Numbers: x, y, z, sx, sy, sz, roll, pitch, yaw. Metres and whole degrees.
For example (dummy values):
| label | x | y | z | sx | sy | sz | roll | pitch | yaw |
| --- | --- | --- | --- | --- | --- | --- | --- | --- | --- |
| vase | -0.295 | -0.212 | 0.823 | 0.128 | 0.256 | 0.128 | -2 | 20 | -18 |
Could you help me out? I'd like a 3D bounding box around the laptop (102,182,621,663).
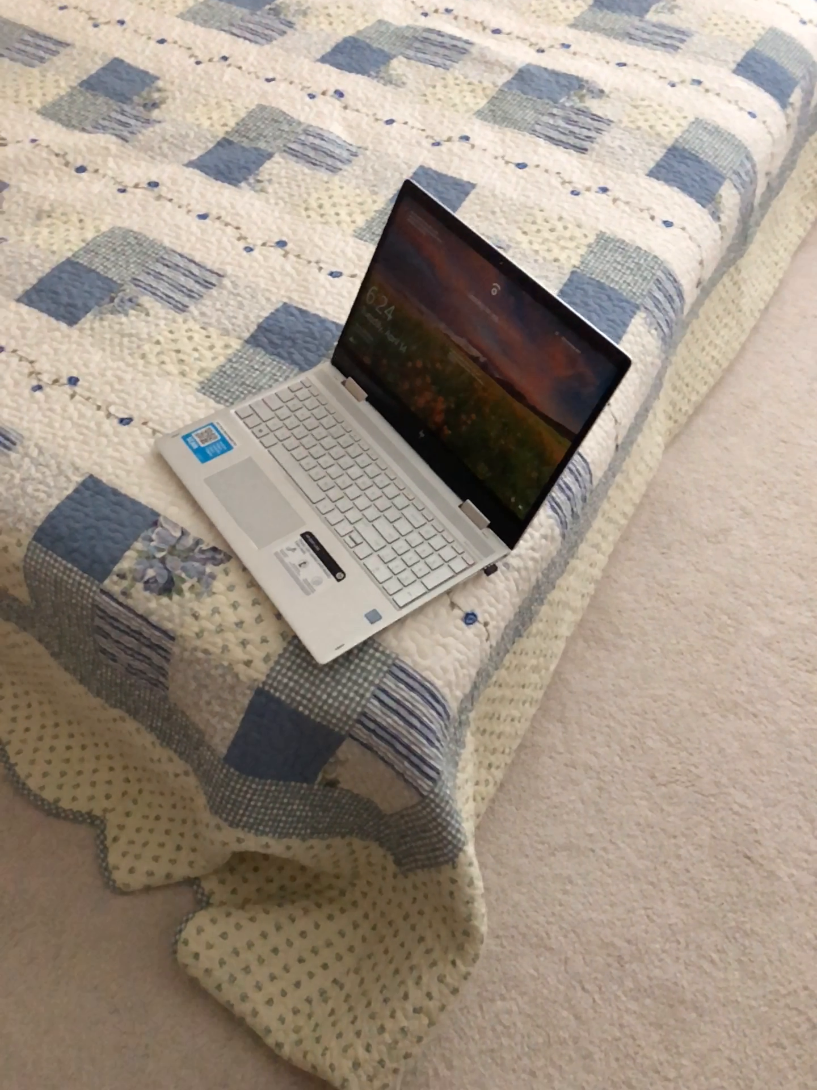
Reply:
| label | x | y | z | sx | sy | sz | roll | pitch | yaw |
| --- | --- | --- | --- | --- | --- | --- | --- | --- | --- |
| laptop | -0.049 | -0.146 | 0.946 | 0.358 | 0.208 | 0.356 | -30 | 60 | -21 |
